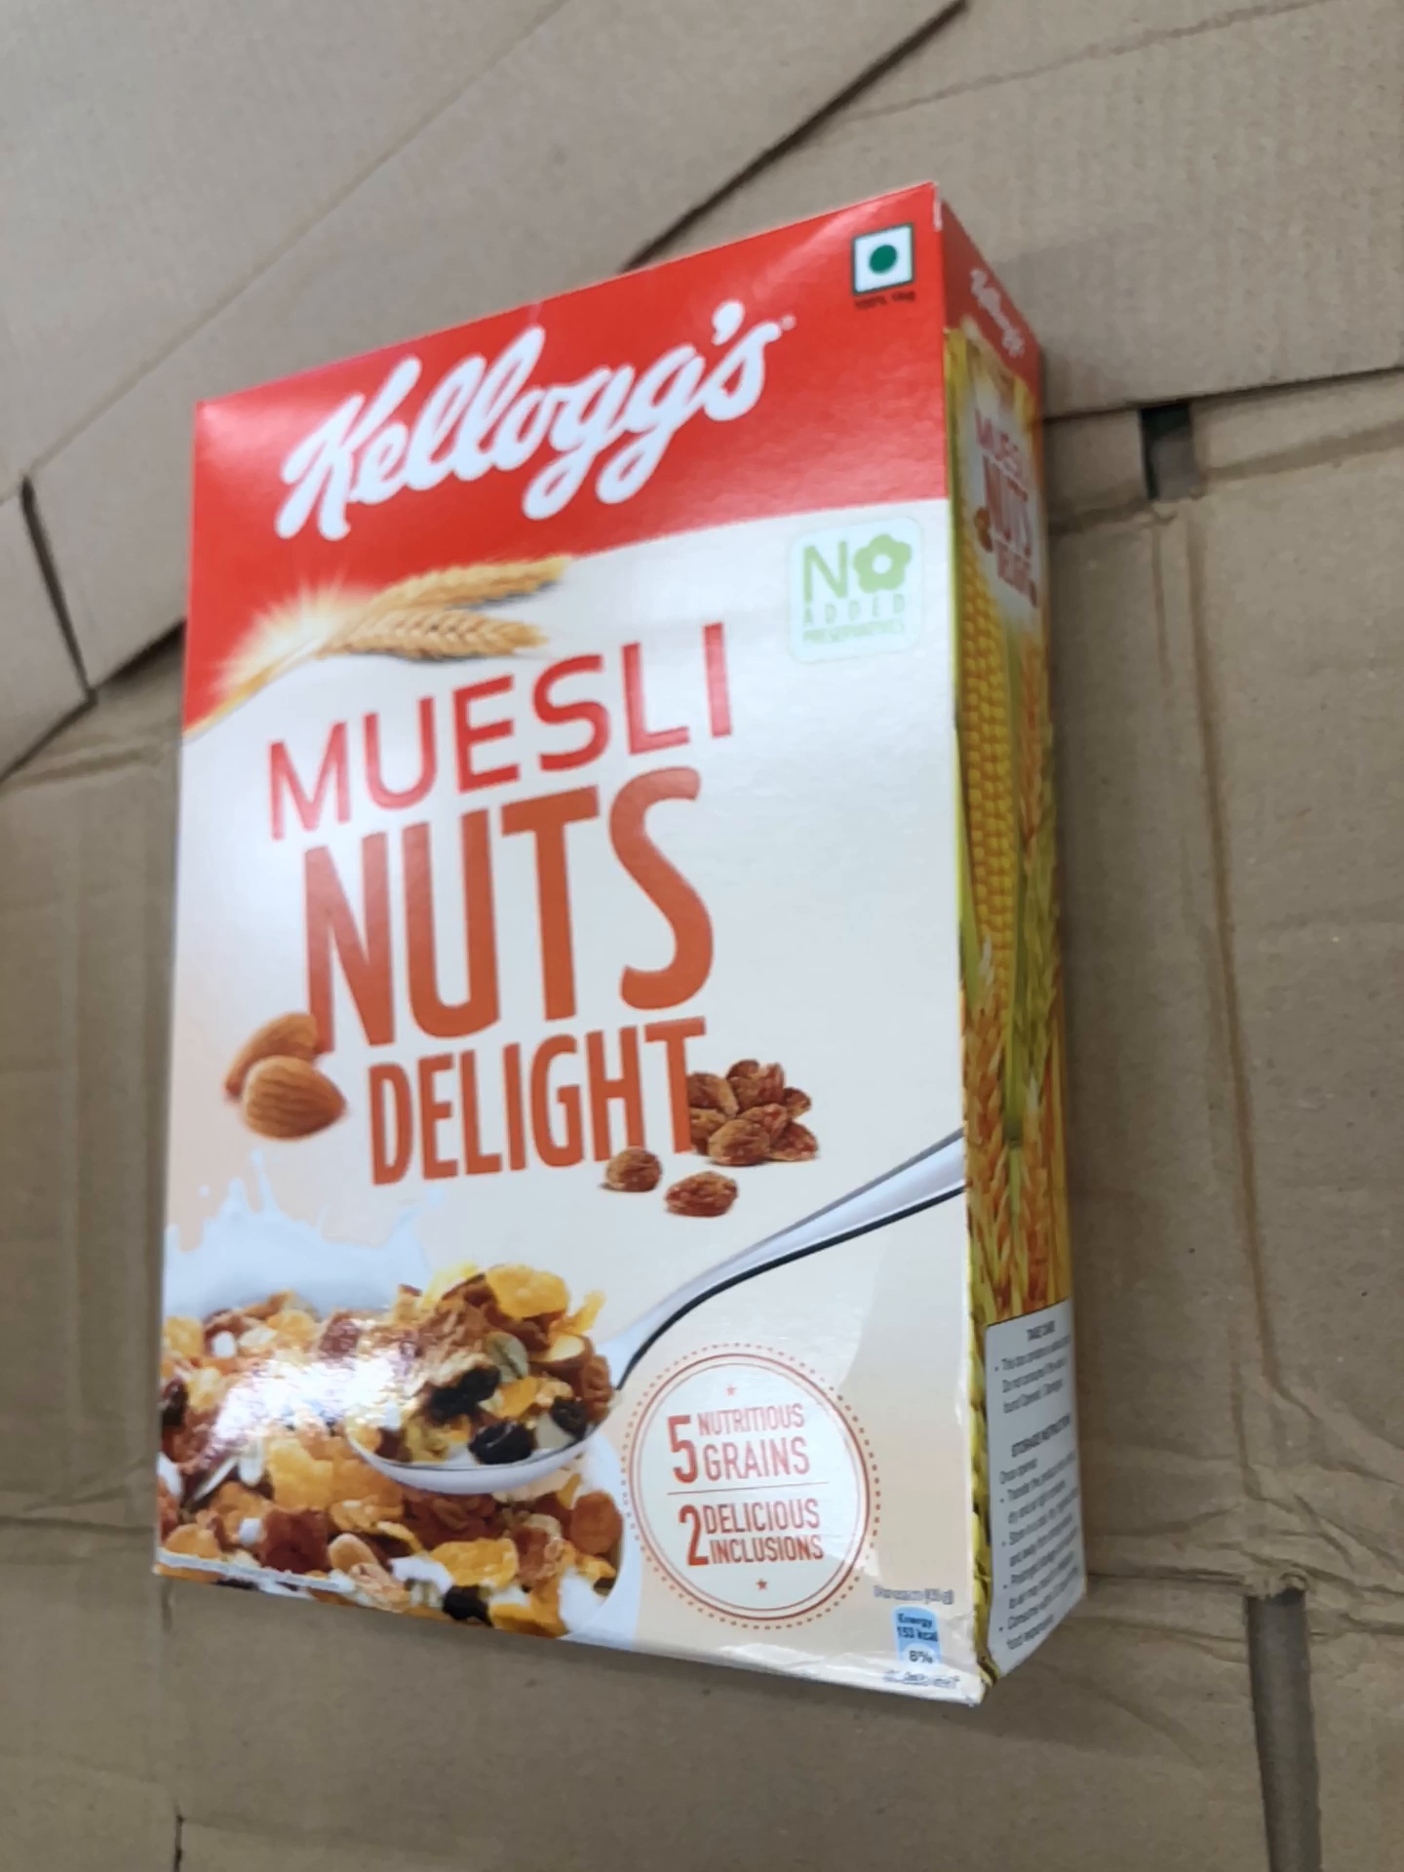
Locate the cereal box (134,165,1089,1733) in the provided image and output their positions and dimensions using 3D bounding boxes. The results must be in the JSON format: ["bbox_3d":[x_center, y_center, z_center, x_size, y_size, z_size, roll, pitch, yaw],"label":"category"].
[{"bbox_3d":[-0.020,0.003,0.331,0.180,0.070,0.260,-4,81,28],"label":"cereal box"}]
